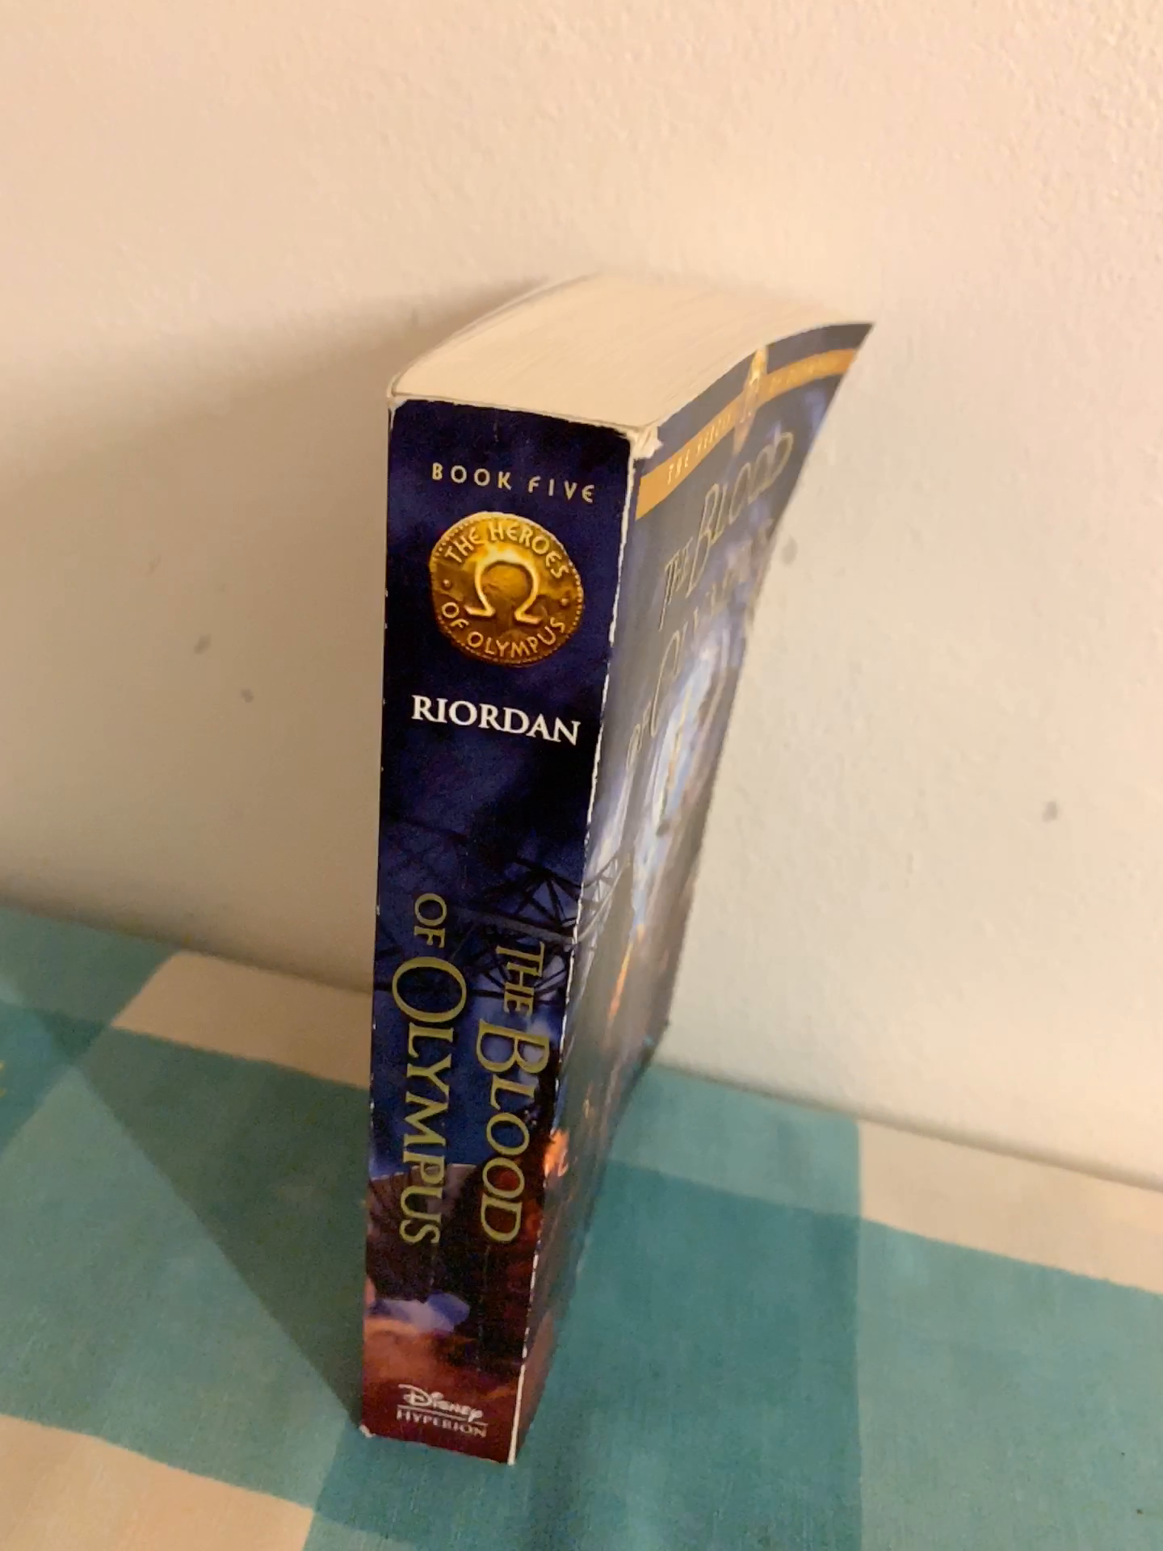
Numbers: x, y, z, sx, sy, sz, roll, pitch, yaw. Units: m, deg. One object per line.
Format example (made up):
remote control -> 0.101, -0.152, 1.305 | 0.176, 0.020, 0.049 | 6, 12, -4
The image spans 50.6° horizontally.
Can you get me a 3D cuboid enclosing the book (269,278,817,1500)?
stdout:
book -> -0.003, 0.007, 0.241 | 0.050, 0.180, 0.151 | 12, 27, 9
